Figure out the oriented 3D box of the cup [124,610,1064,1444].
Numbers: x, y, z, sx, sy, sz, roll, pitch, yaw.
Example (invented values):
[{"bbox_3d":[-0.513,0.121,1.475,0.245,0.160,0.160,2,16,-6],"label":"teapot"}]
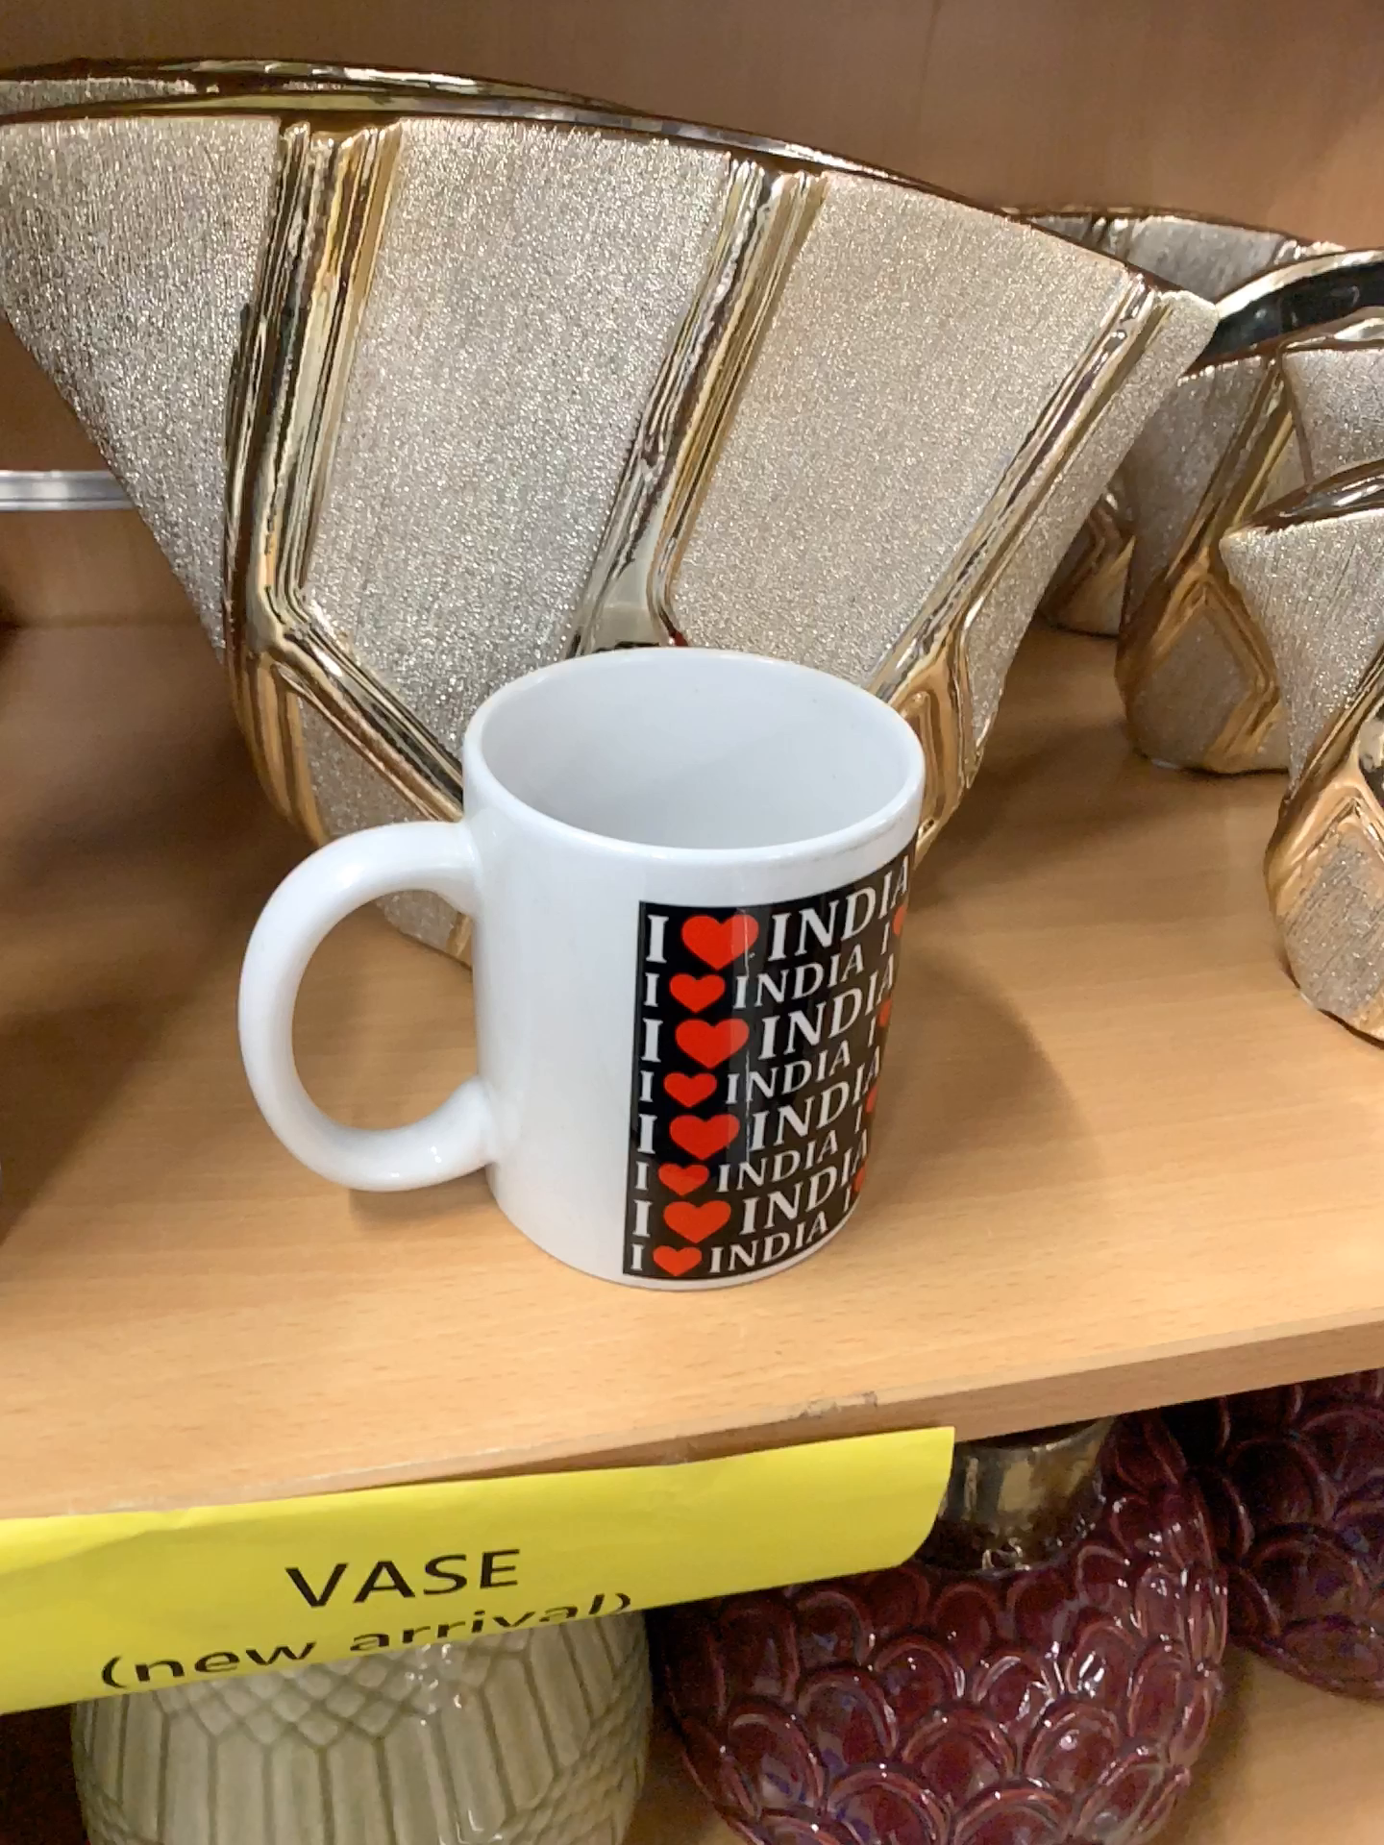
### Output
[{"bbox_3d":[-0.021,0.008,0.259,0.130,0.090,0.090,-12,34,-22],"label":"cup"}]
